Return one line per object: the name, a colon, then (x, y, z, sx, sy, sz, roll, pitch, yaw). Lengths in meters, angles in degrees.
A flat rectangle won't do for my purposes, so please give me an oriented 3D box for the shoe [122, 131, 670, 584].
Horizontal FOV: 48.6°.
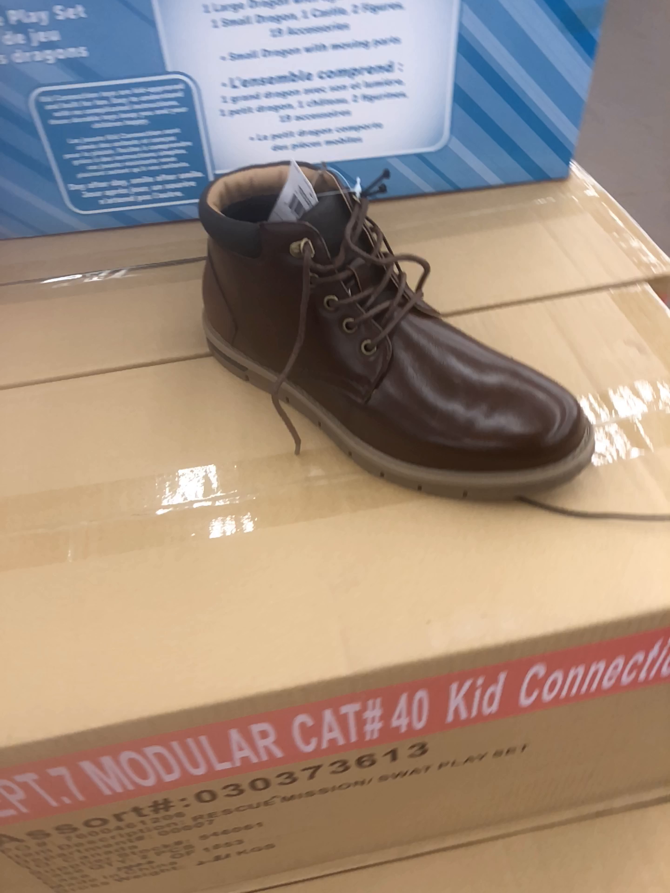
shoe: (0.028, -0.068, 0.476, 0.291, 0.159, 0.120, 27, 55, 26)
